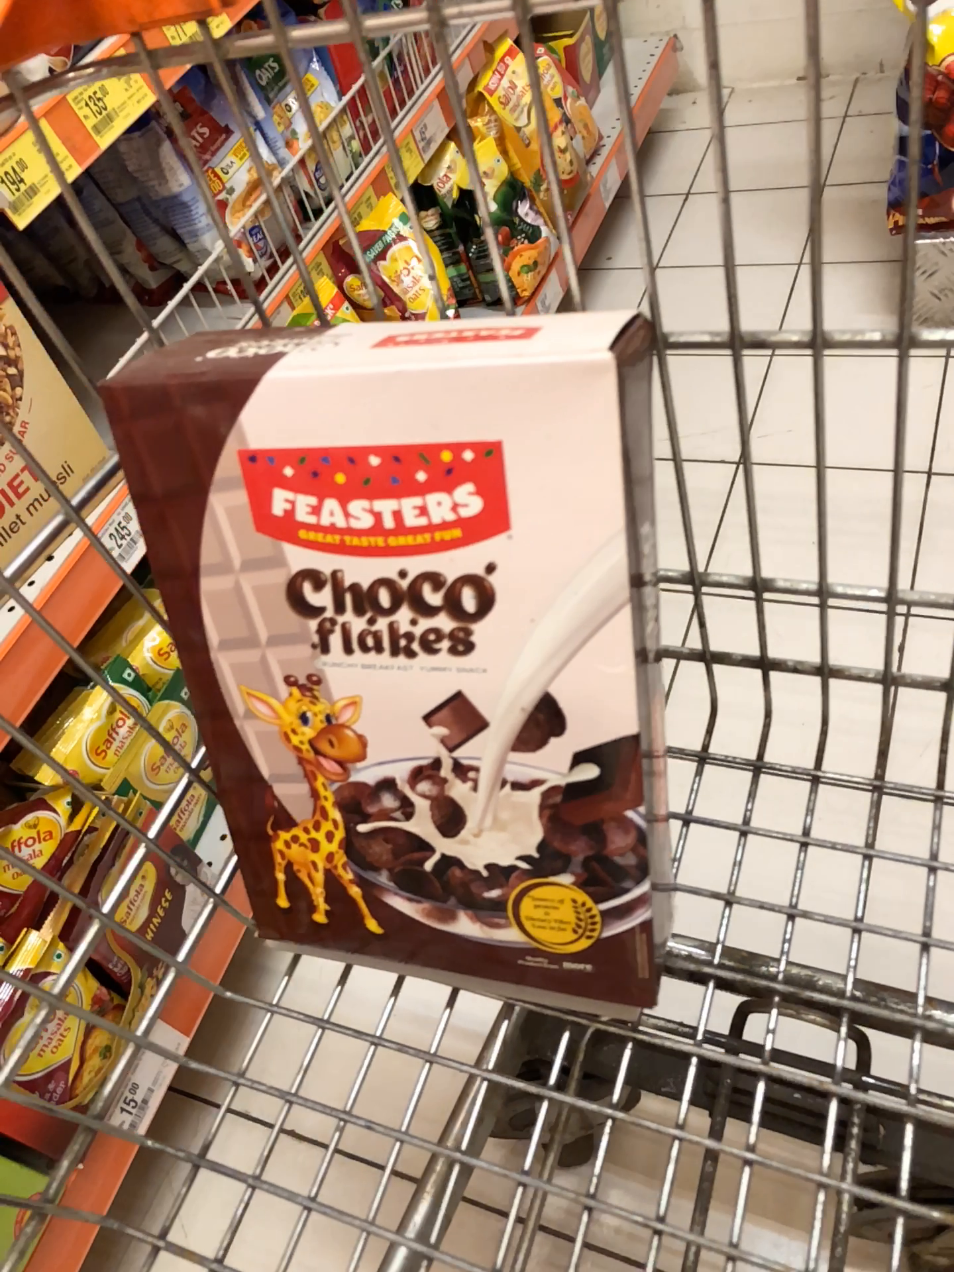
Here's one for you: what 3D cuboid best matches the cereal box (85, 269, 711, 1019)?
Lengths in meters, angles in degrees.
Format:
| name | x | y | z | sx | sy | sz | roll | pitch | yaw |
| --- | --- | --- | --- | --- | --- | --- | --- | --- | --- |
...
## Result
| name | x | y | z | sx | sy | sz | roll | pitch | yaw |
| --- | --- | --- | --- | --- | --- | --- | --- | --- | --- |
| cereal box | -0.013 | 0.008 | 0.371 | 0.170 | 0.239 | 0.070 | 2 | 28 | 20 |
